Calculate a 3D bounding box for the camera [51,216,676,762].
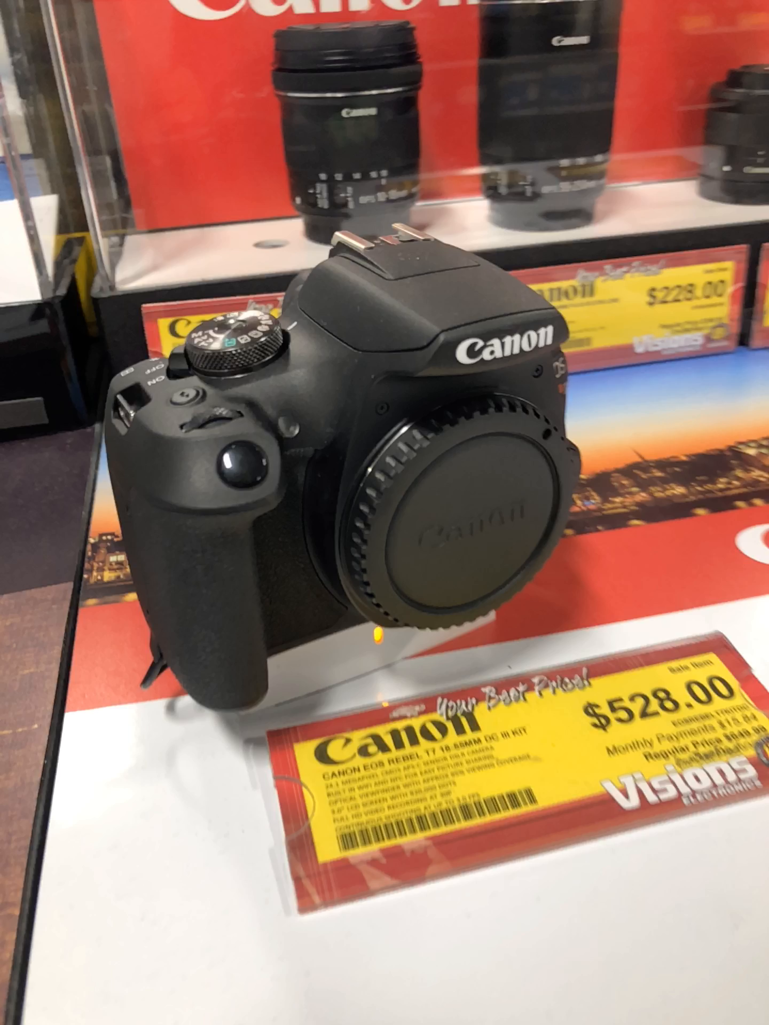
[{"bbox_3d":[-0.005,-0.017,0.231,0.130,0.089,0.080,-18,34,-23],"label":"camera"}]
